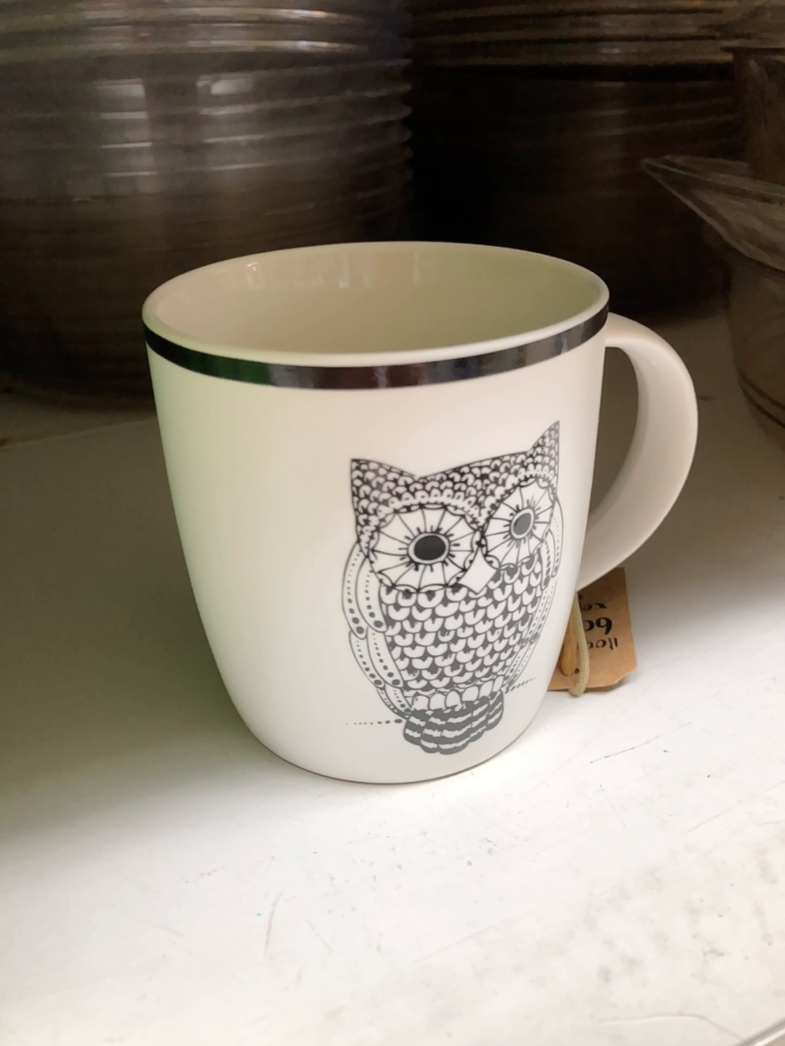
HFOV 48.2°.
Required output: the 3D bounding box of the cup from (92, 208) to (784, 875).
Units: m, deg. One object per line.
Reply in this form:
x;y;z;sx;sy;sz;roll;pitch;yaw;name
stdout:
0.009;-0.008;0.188;0.110;0.093;0.077;-17;31;-26;cup
